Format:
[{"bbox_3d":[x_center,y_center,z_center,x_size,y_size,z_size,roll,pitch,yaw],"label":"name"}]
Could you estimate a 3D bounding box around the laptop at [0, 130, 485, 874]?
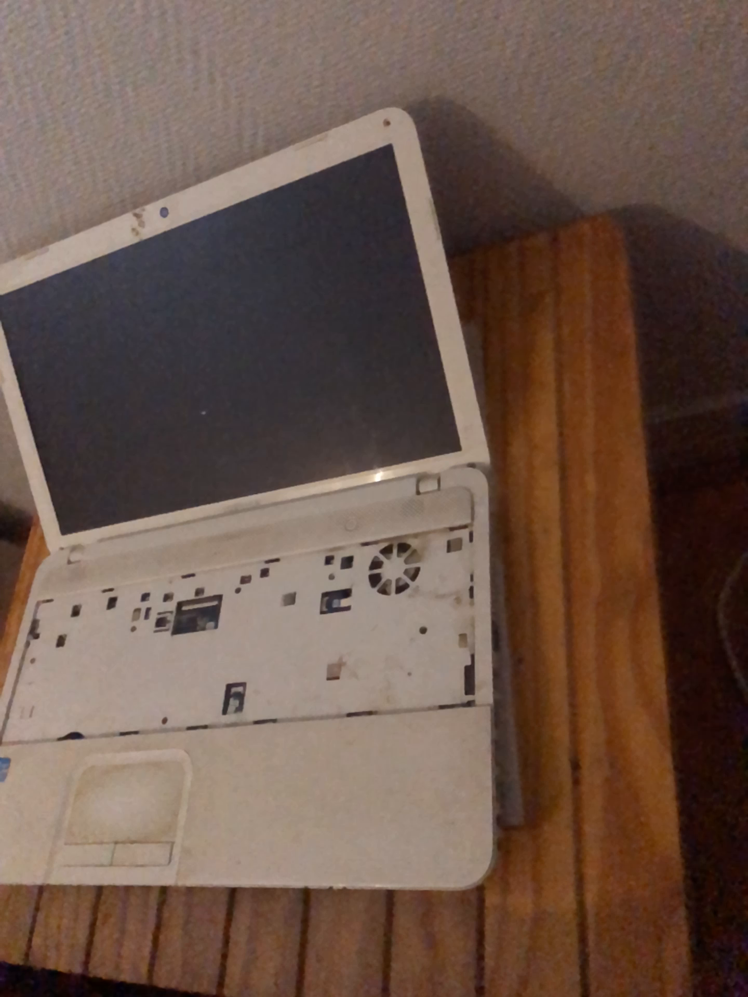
[{"bbox_3d":[-0.128,0.010,0.533,0.372,0.118,0.419,-12,57,24],"label":"laptop"}]
